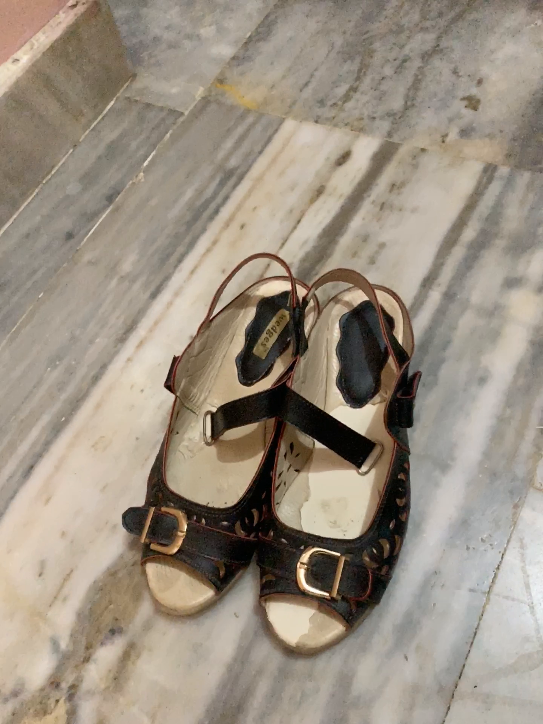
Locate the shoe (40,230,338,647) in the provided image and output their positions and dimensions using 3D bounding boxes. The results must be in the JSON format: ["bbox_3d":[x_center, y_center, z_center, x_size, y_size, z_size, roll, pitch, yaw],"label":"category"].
[{"bbox_3d":[-0.037,0.045,0.397,0.100,0.100,0.260,11,64,17],"label":"shoe"}]

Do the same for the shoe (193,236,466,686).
[{"bbox_3d":[0.052,0.055,0.374,0.100,0.100,0.260,11,64,17],"label":"shoe"}]
